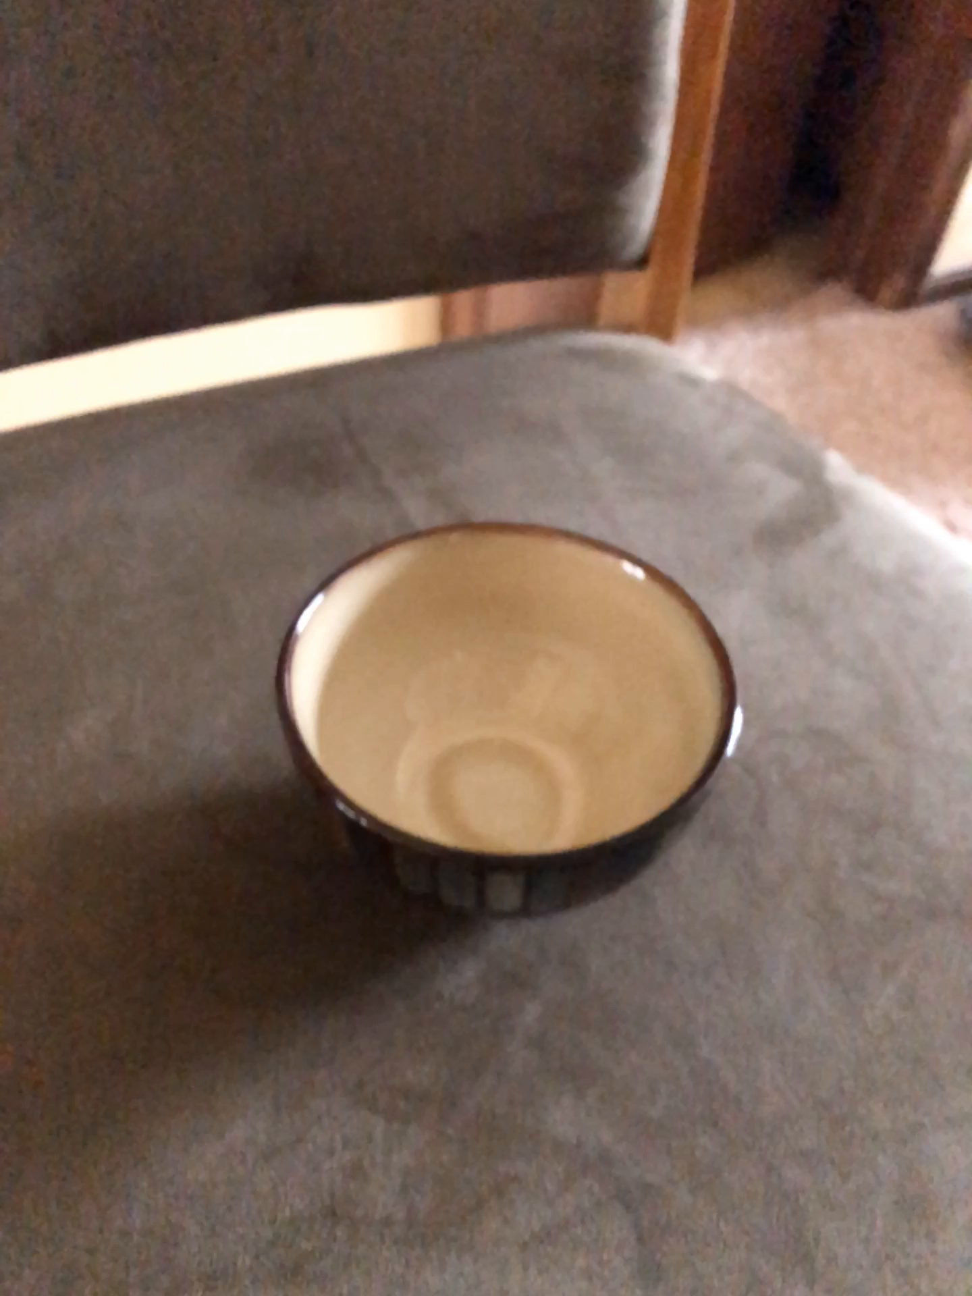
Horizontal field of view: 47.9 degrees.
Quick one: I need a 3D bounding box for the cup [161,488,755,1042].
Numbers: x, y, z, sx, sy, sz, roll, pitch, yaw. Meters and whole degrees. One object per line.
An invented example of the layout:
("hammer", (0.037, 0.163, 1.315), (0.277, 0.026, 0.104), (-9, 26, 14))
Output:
("cup", (0.000, 0.022, 0.270), (0.114, 0.044, 0.109), (3, 46, -3))
